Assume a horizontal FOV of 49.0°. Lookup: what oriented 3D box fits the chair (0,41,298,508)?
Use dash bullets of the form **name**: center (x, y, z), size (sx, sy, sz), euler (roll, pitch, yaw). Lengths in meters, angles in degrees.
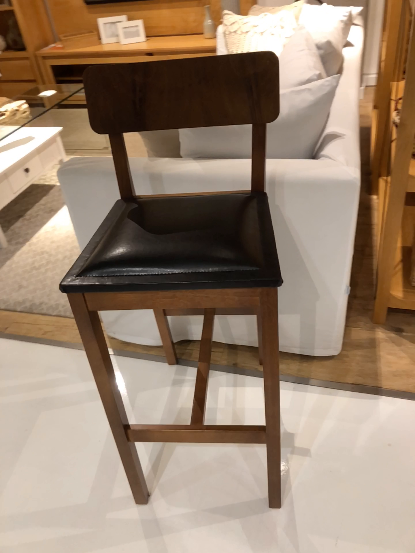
- **chair**: center (-0.030, 0.050, 1.122), size (0.440, 1.002, 0.534), euler (-2, 38, 7)
